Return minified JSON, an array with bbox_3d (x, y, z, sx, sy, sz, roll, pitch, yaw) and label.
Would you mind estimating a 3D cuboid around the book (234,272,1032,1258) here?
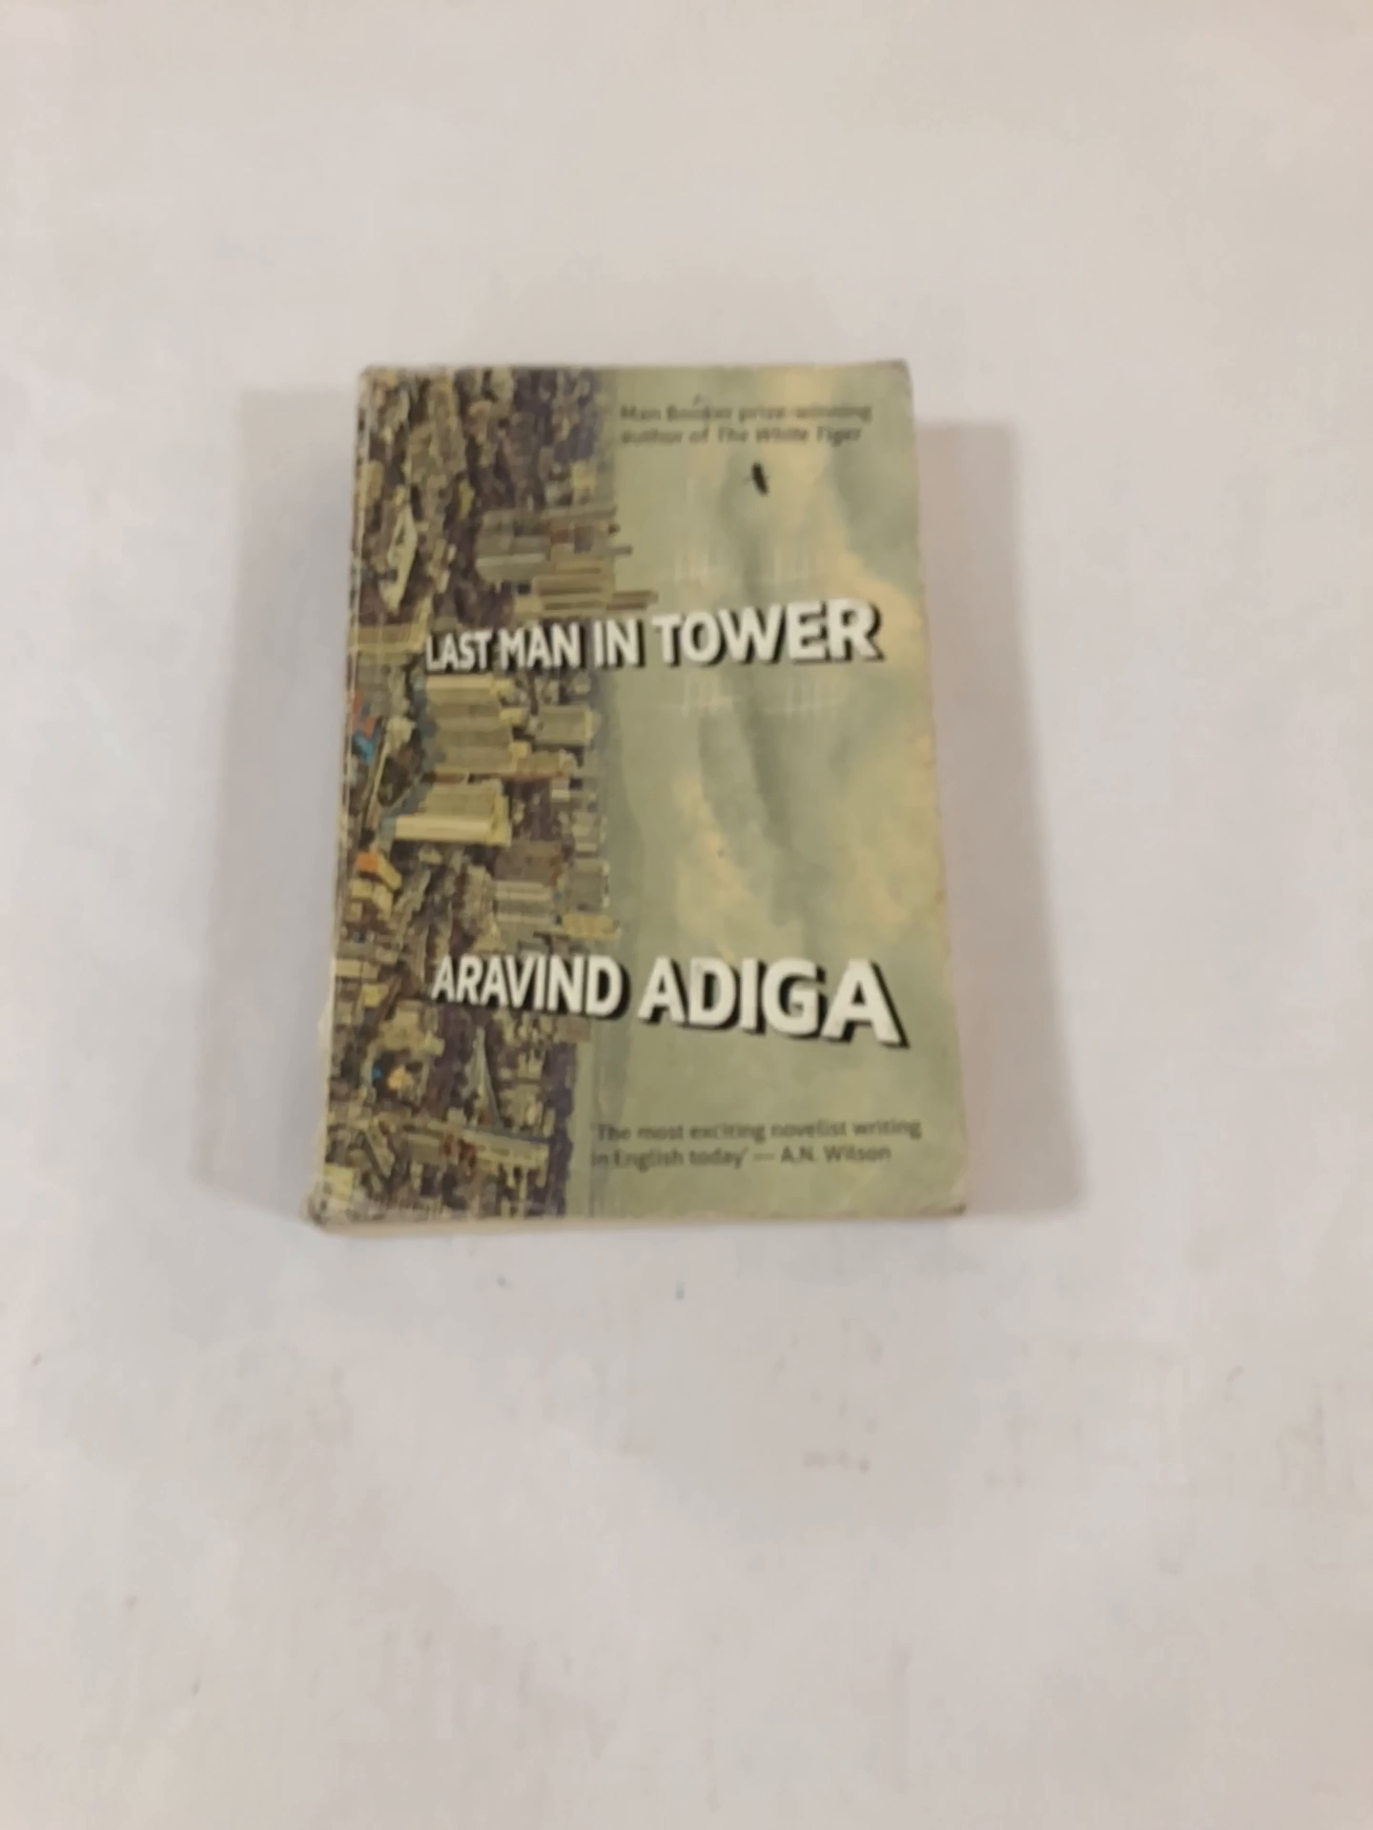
[{"bbox_3d":[-0.013,-0.040,0.340,0.150,0.030,0.220,-1,71,-1],"label":"book"}]
